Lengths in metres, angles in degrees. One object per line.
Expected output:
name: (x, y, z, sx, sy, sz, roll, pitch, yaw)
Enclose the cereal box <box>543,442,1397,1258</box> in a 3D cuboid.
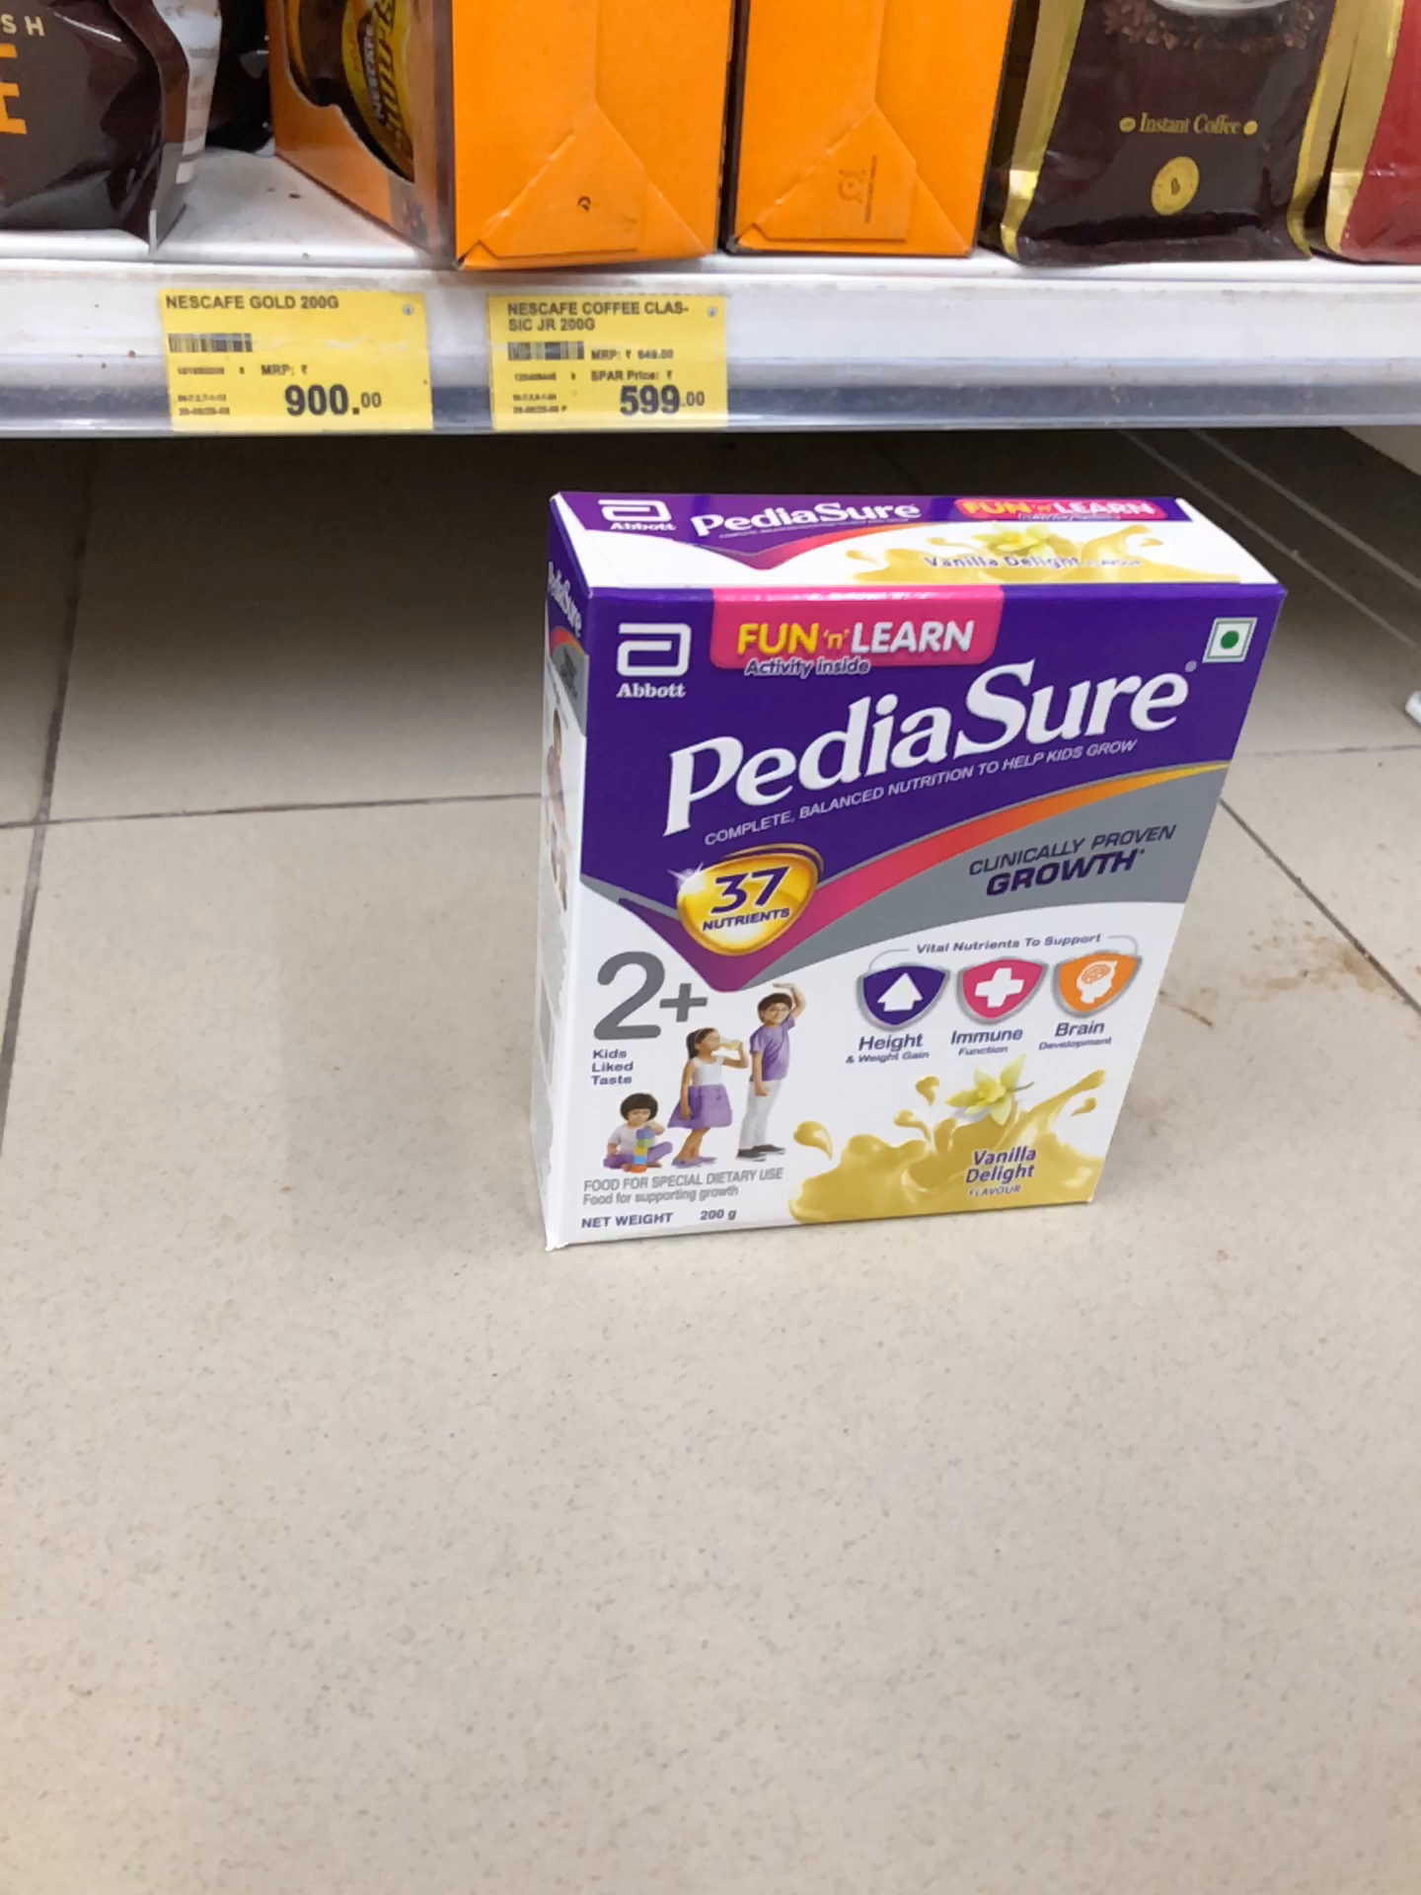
cereal box: (0.040, -0.015, 0.327, 0.140, 0.159, 0.050, -3, 36, -12)
